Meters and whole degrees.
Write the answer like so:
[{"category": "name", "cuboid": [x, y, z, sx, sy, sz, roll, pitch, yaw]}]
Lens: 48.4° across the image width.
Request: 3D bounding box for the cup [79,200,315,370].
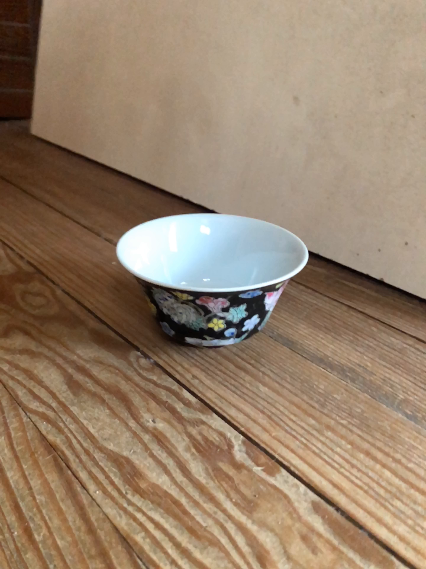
[{"category": "cup", "cuboid": [-0.001, -0.007, 0.270, 0.110, 0.040, 0.101, 2, 30, -1]}]
